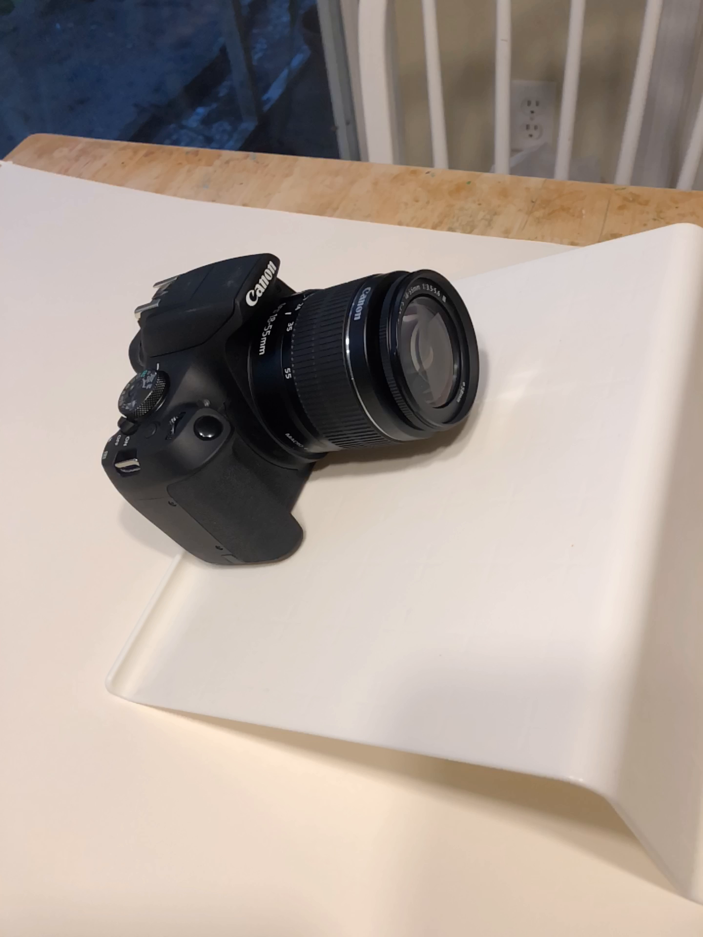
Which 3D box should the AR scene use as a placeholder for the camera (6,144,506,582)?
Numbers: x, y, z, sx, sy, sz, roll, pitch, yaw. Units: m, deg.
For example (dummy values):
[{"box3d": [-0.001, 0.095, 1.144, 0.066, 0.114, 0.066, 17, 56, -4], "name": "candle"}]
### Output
[{"box3d": [-0.035, -0.034, 0.330, 0.140, 0.104, 0.126, -8, 44, 39], "name": "camera"}]
